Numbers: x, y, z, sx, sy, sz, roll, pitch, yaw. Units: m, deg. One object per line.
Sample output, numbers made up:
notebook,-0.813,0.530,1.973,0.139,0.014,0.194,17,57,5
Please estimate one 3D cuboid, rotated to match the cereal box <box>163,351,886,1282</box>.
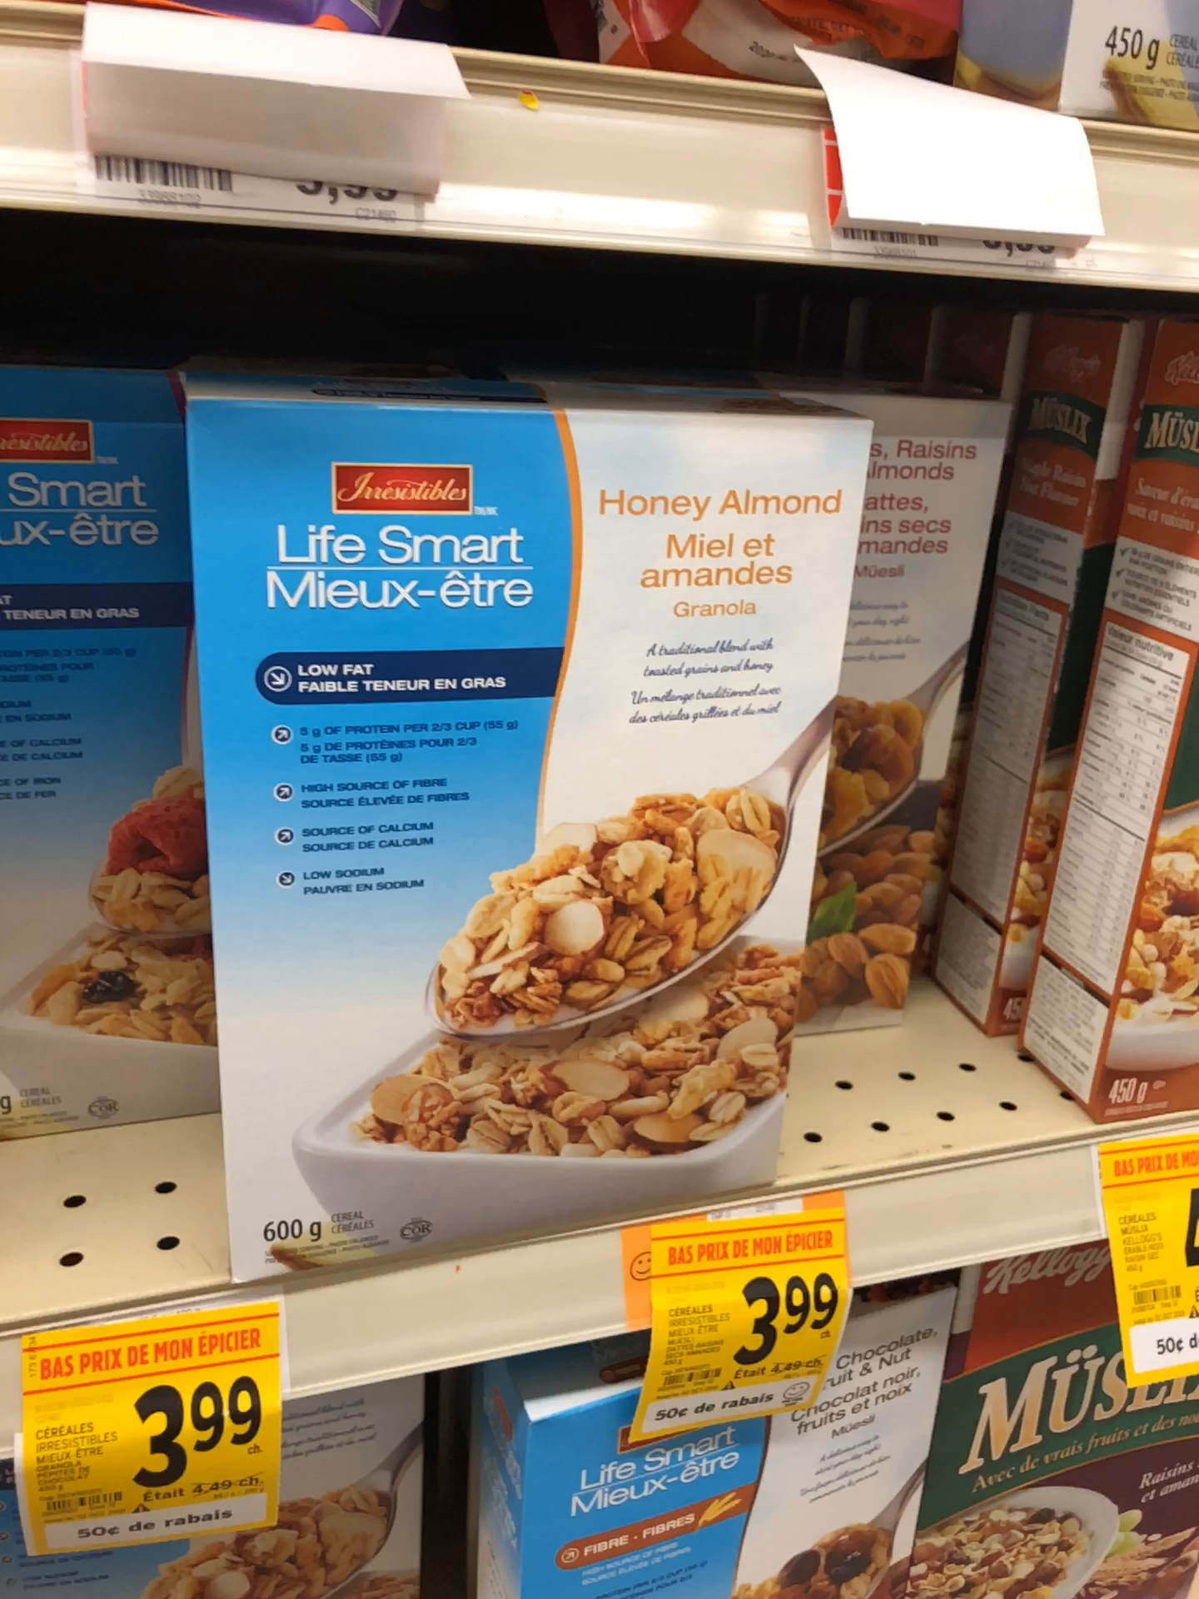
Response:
cereal box,-0.026,0.005,0.376,0.170,0.238,0.060,-4,23,-19
